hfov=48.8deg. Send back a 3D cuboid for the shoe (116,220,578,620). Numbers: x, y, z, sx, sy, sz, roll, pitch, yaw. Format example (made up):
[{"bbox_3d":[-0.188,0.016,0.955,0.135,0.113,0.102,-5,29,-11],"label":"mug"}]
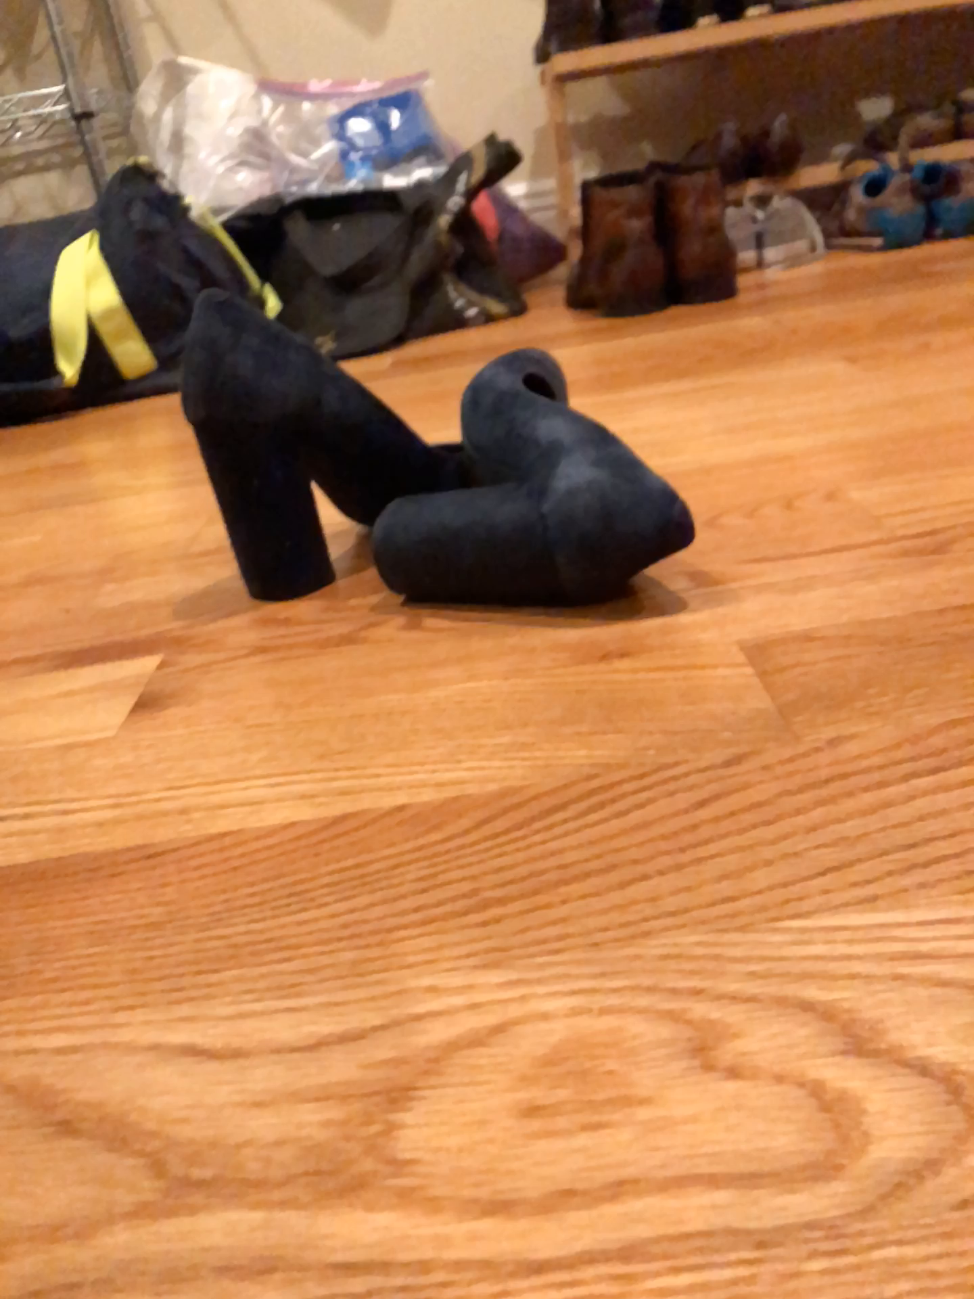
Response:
[{"bbox_3d":[-0.058,-0.132,0.575,0.080,0.146,0.227,11,31,40],"label":"shoe"}]

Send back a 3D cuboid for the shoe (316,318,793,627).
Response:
[{"bbox_3d":[0.046,-0.093,0.518,0.152,0.080,0.205,3,27,28],"label":"shoe"}]
